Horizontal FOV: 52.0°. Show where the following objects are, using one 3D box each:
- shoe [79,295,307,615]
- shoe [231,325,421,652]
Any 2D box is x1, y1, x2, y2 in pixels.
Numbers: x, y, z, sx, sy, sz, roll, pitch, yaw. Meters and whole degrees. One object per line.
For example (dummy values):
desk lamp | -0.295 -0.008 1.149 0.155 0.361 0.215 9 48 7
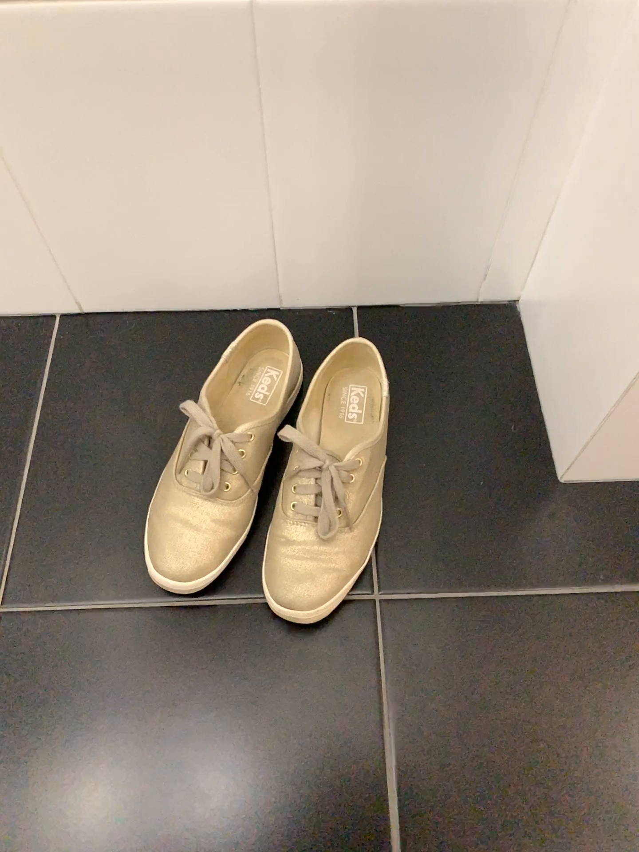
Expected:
shoe | -0.089 0.020 0.544 0.090 0.100 0.231 15 61 8
shoe | 0.012 0.046 0.532 0.090 0.100 0.231 12 61 7
